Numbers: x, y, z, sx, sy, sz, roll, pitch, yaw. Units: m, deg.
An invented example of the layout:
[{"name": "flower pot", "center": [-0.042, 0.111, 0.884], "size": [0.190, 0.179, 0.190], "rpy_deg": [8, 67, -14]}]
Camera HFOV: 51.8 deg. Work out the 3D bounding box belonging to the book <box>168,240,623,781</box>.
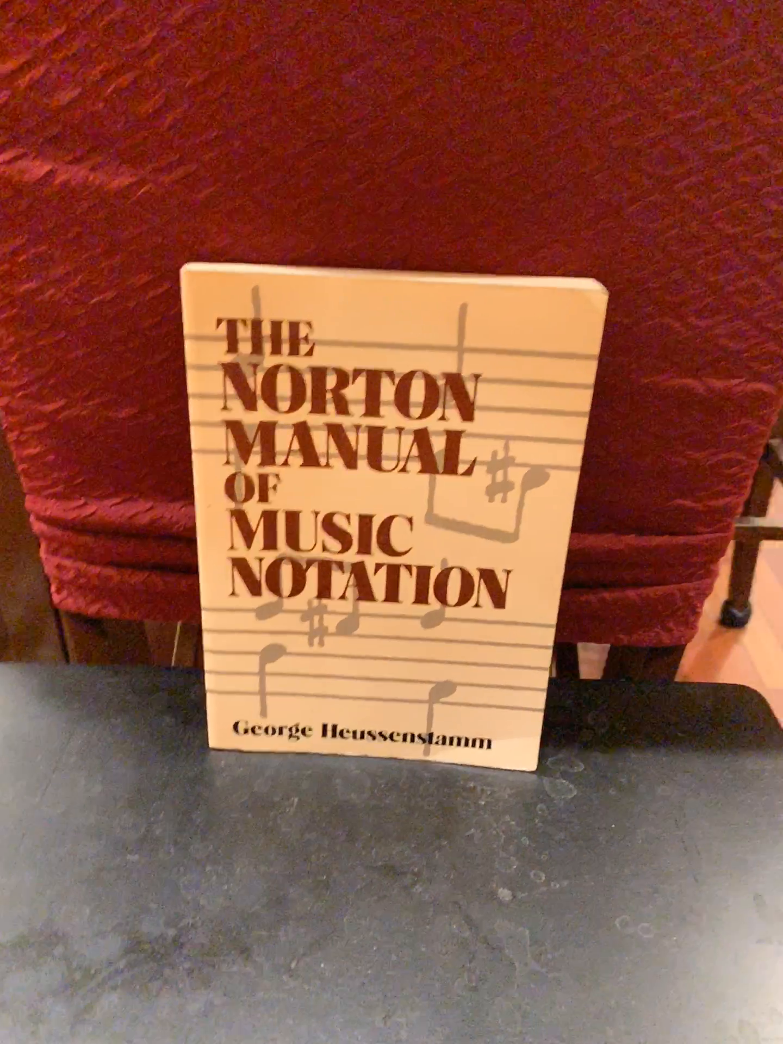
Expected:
[{"name": "book", "center": [-0.004, 0.007, 0.387], "size": [0.180, 0.259, 0.030], "rpy_deg": [3, 25, 1]}]
